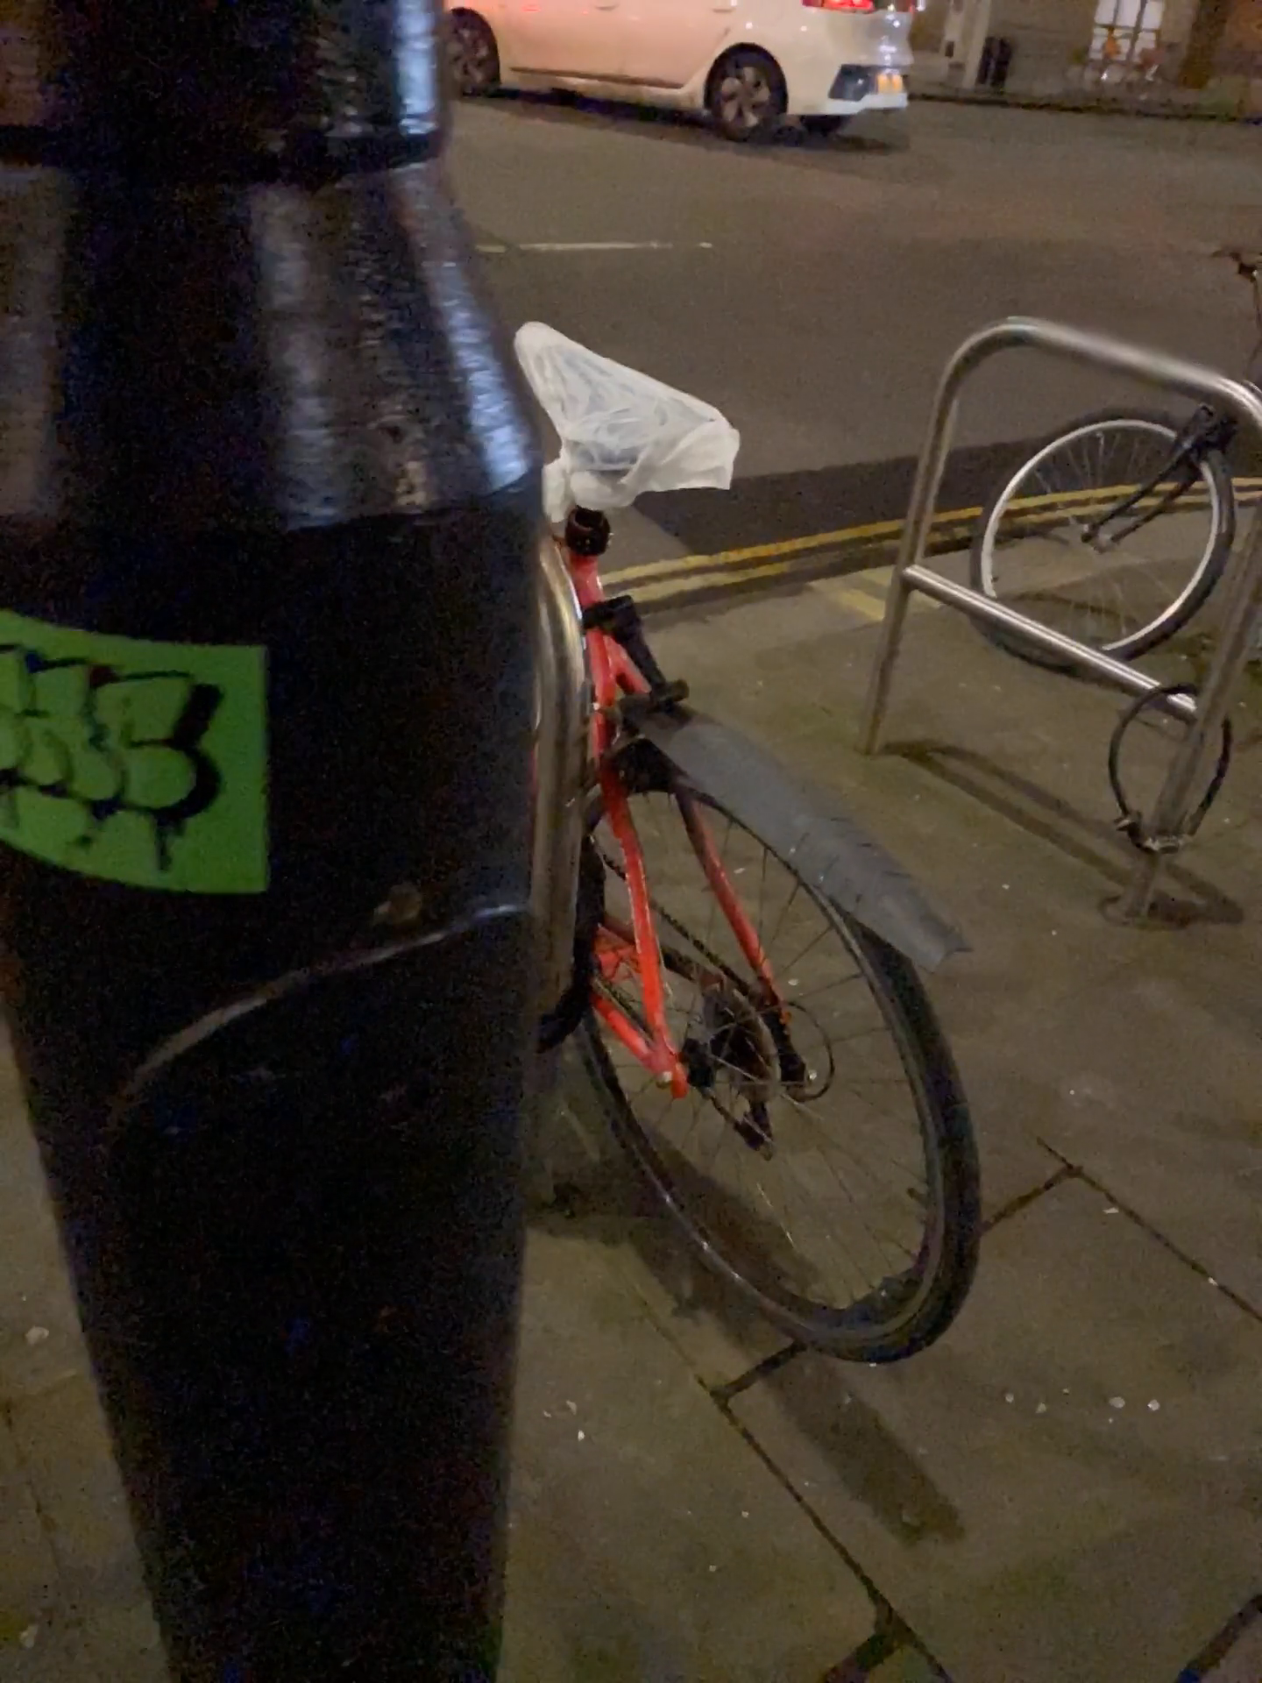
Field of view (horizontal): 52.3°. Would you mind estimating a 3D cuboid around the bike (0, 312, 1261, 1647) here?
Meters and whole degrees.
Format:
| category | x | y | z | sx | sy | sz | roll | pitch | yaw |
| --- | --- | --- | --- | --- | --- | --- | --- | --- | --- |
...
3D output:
| category | x | y | z | sx | sy | sz | roll | pitch | yaw |
| --- | --- | --- | --- | --- | --- | --- | --- | --- | --- |
| bike | -0.257 | -0.054 | 1.634 | 0.538 | 0.809 | 1.665 | -20 | 41 | -33 |
